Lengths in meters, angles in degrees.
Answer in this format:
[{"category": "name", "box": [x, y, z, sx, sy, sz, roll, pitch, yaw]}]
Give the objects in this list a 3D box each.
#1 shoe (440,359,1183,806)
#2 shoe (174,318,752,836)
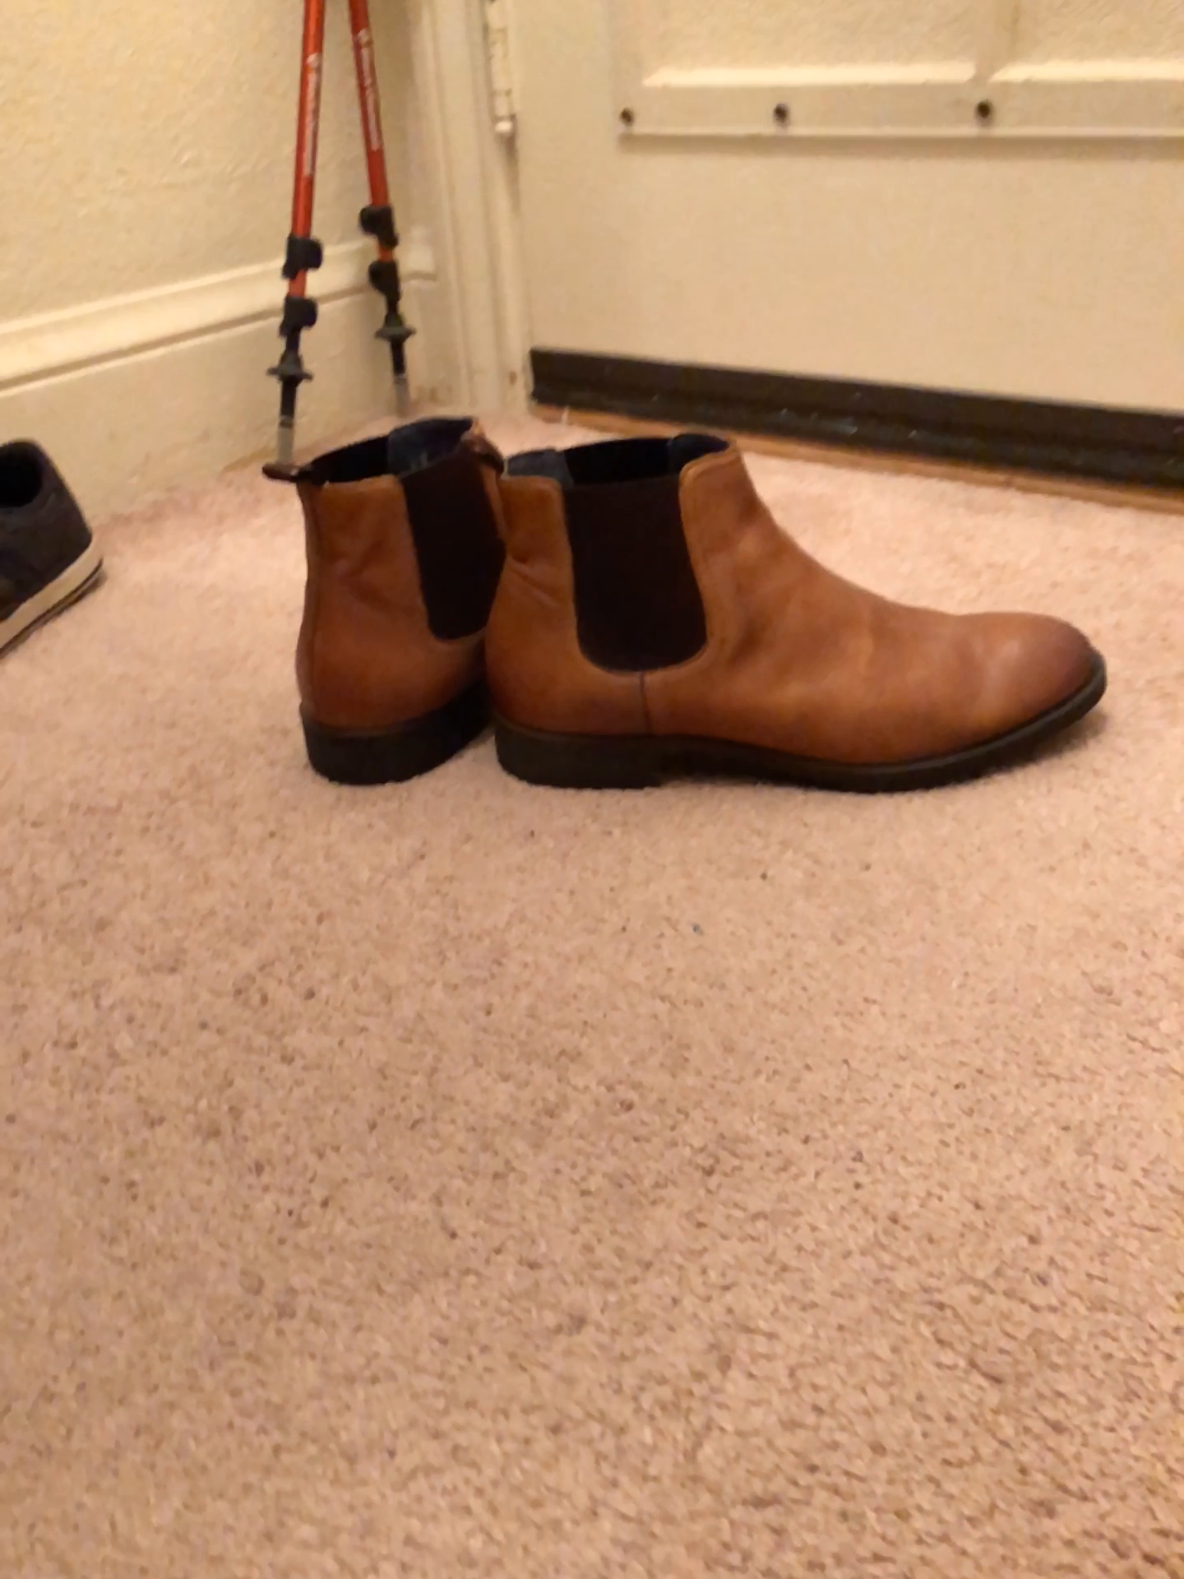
[{"category": "shoe", "box": [0.101, -0.096, 0.610, 0.312, 0.165, 0.110, -2, 31, 4]}, {"category": "shoe", "box": [-0.045, -0.133, 0.707, 0.109, 0.165, 0.313, 20, 39, 34]}]
